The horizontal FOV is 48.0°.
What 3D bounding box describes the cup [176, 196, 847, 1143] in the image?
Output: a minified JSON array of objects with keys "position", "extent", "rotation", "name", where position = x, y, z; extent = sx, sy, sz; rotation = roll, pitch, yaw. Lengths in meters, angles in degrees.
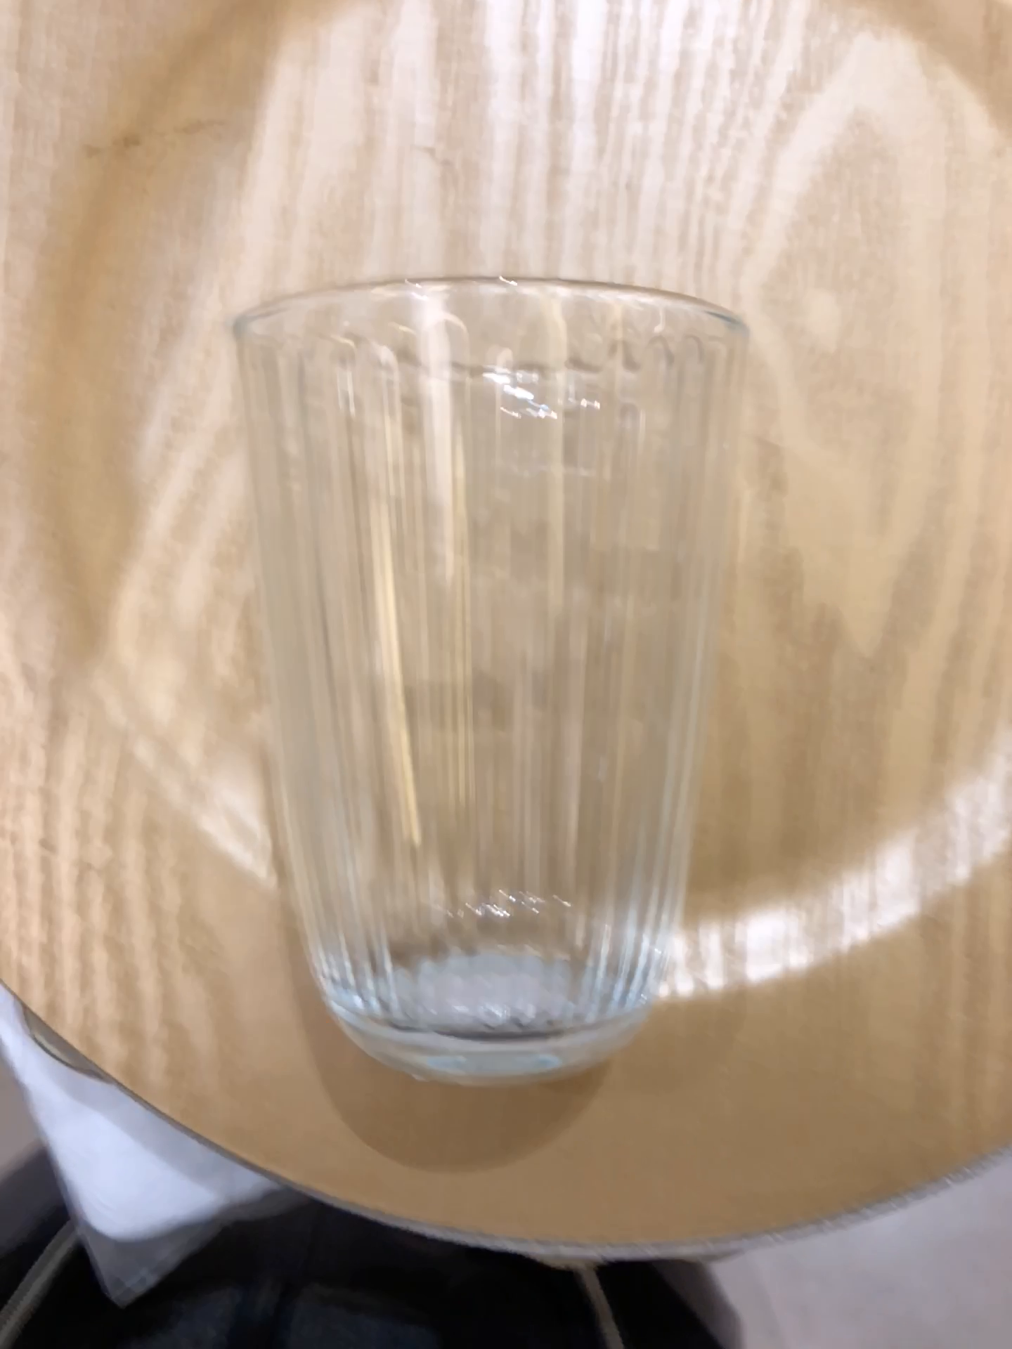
[{"position":[0.000,-0.001,0.195],"extent":[0.090,0.070,0.130],"rotation":[-2,90,-2],"name":"cup"}]
